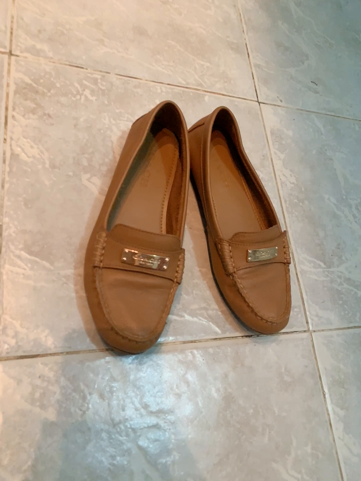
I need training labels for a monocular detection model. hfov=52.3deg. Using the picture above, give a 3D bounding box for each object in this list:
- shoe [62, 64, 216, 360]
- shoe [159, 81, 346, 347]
[{"bbox_3d":[-0.031,-0.027,0.328,0.083,0.071,0.243,15,66,-16],"label":"shoe"},{"bbox_3d":[0.060,-0.031,0.362,0.085,0.071,0.242,-10,74,-25],"label":"shoe"}]
